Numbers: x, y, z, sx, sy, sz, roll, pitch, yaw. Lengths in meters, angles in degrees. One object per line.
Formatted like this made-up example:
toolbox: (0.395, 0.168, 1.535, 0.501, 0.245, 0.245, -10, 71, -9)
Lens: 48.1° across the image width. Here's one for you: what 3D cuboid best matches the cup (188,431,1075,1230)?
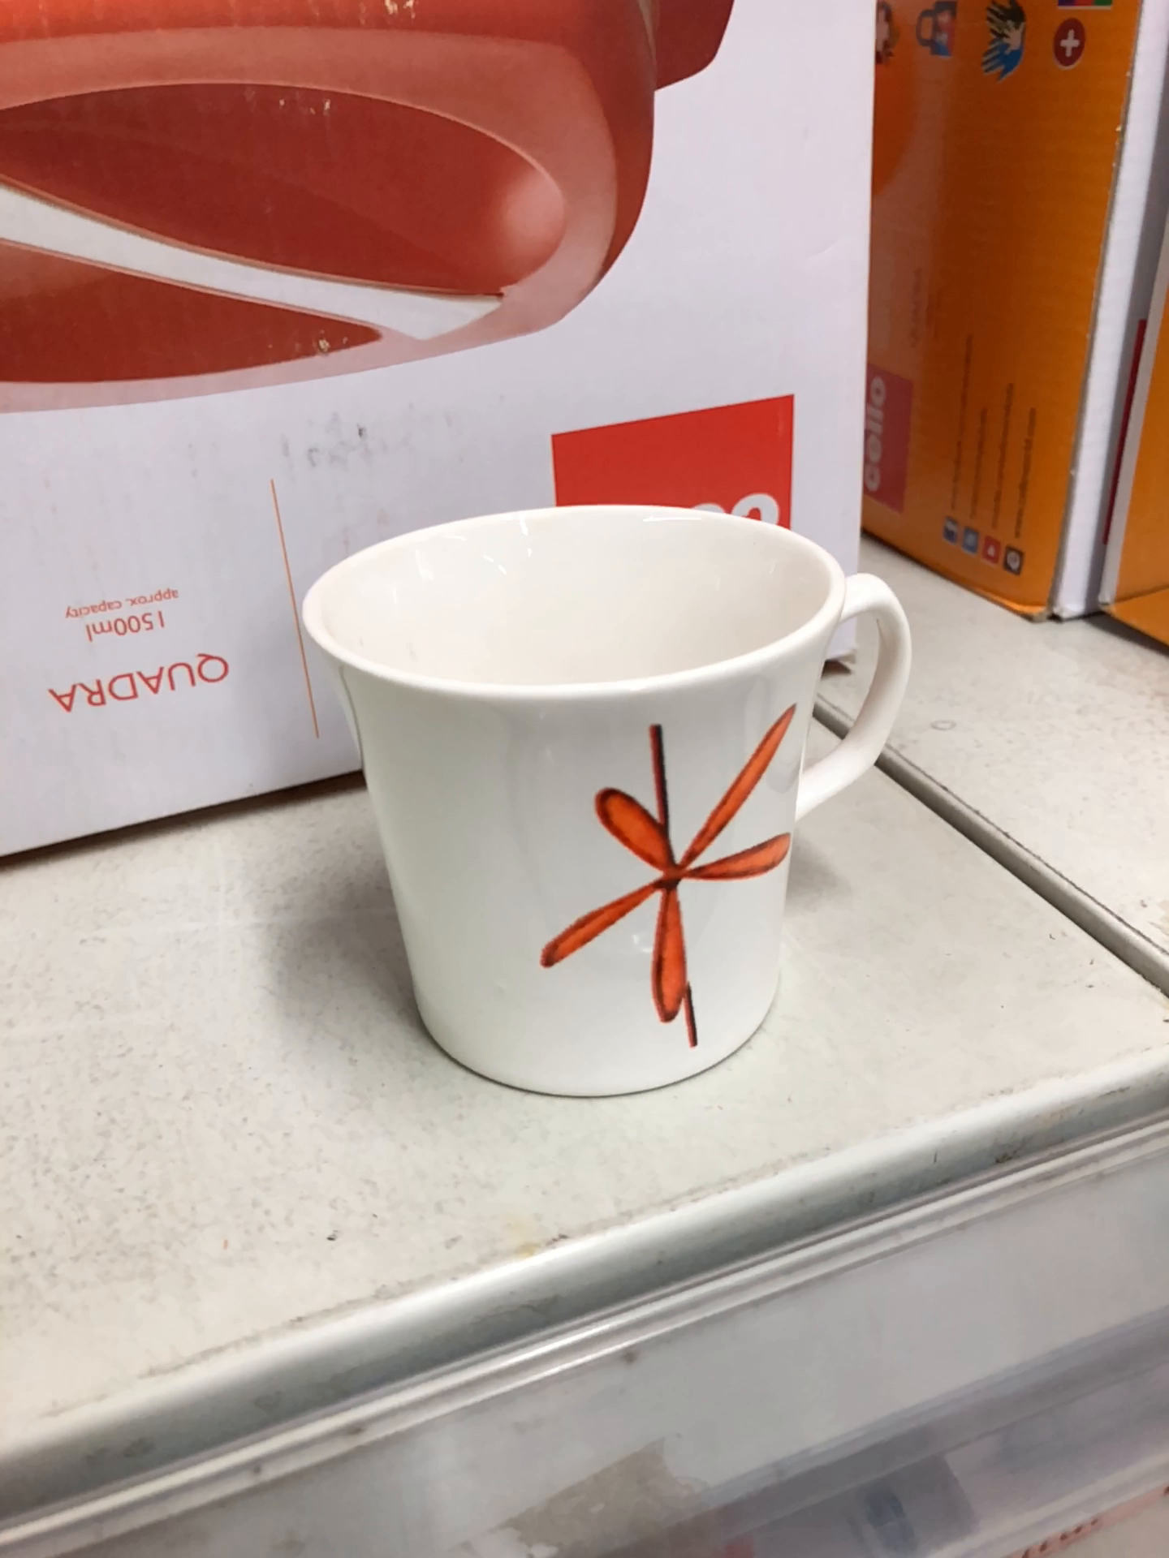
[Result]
cup: (0.007, -0.002, 0.197, 0.100, 0.070, 0.070, -18, 32, -25)
